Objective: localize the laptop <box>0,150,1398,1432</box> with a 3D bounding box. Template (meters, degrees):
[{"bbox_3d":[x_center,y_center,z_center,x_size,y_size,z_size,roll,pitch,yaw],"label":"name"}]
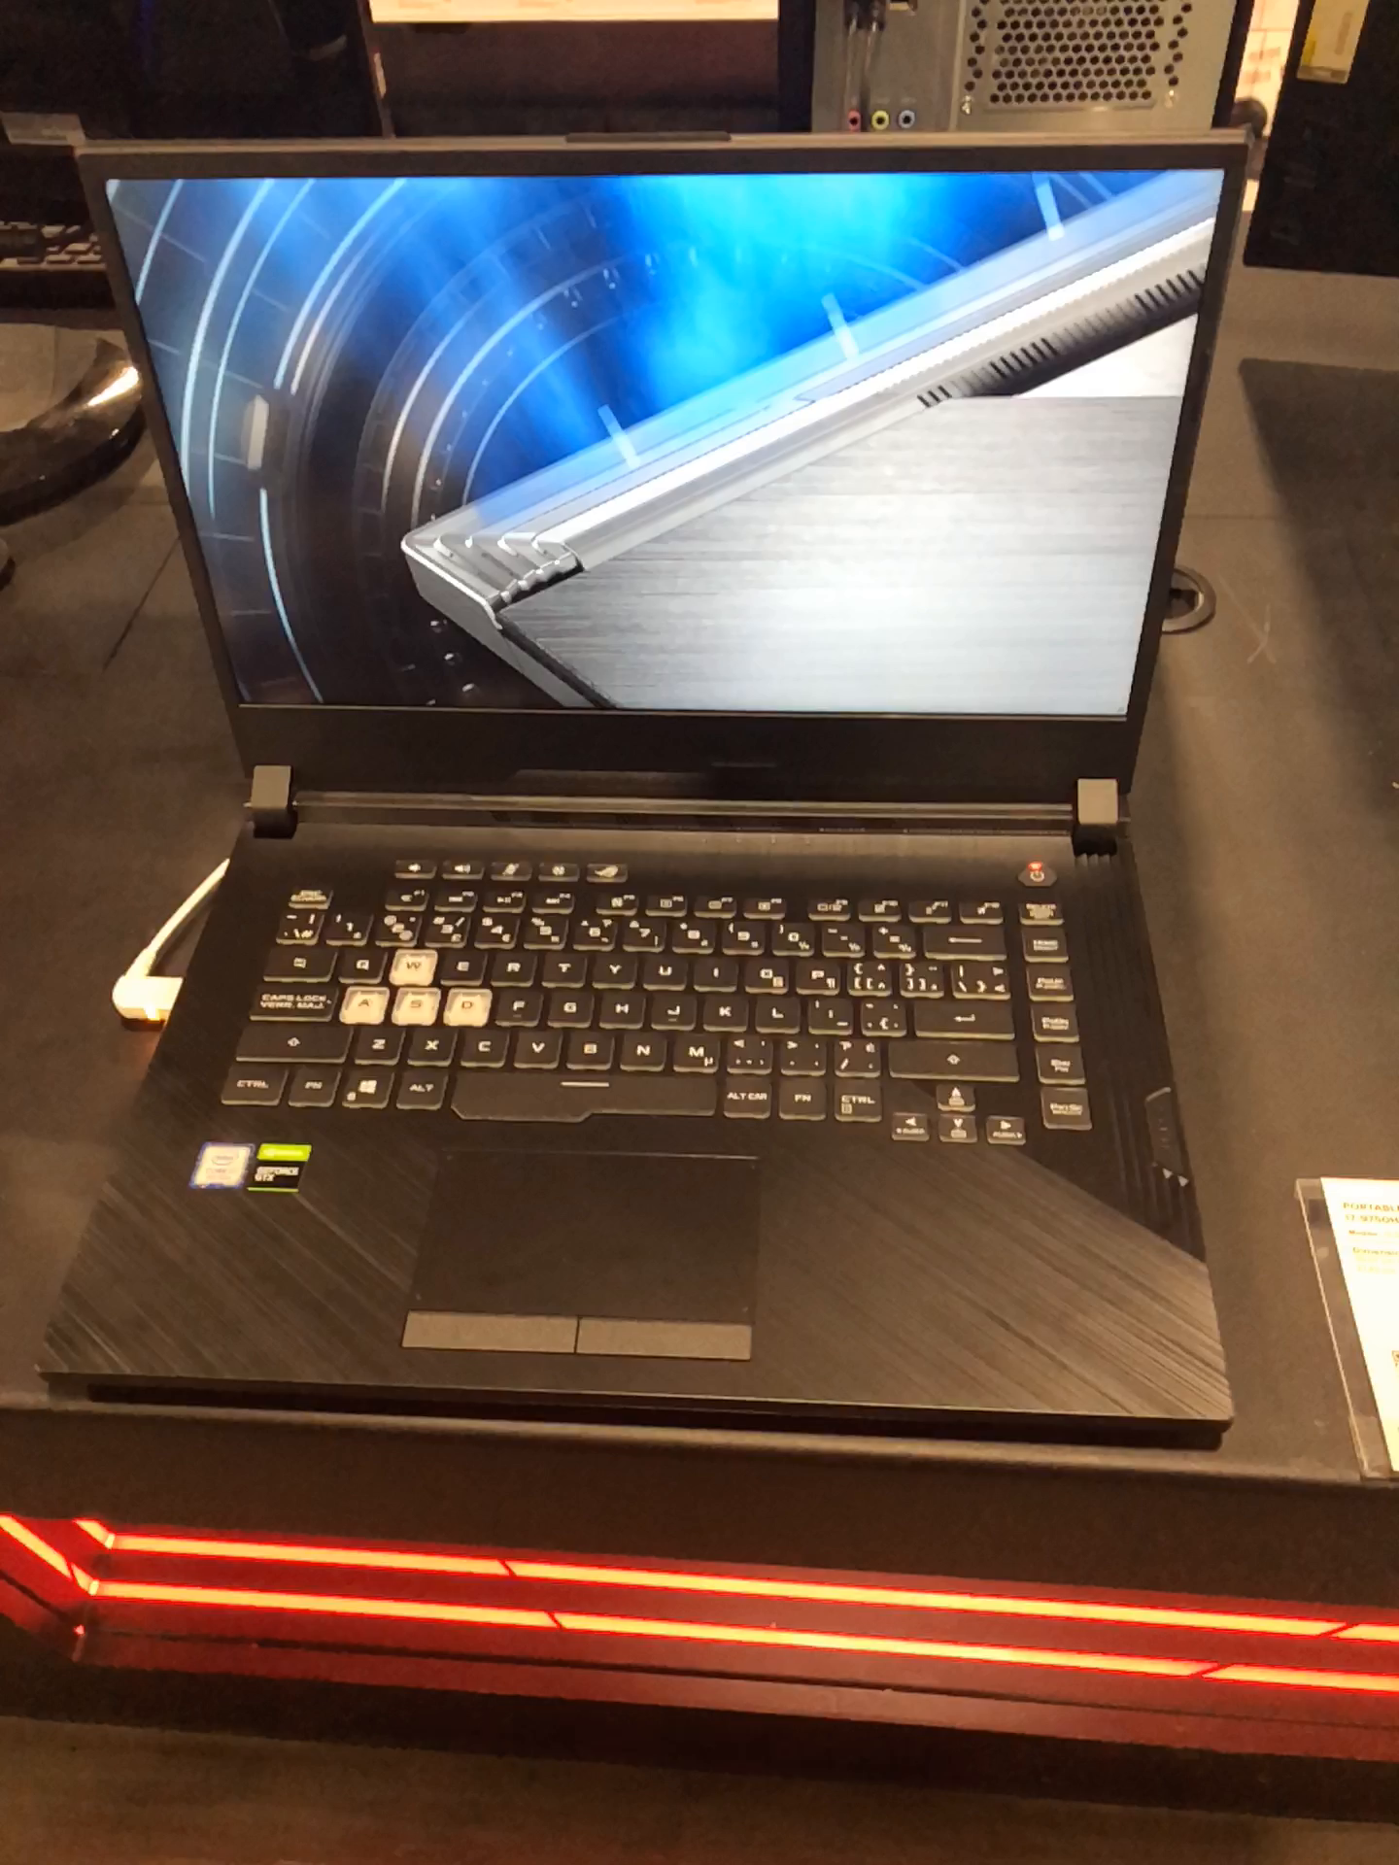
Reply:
[{"bbox_3d":[-0.021,-0.050,0.455,0.350,0.243,0.281,2,47,4],"label":"laptop"}]
